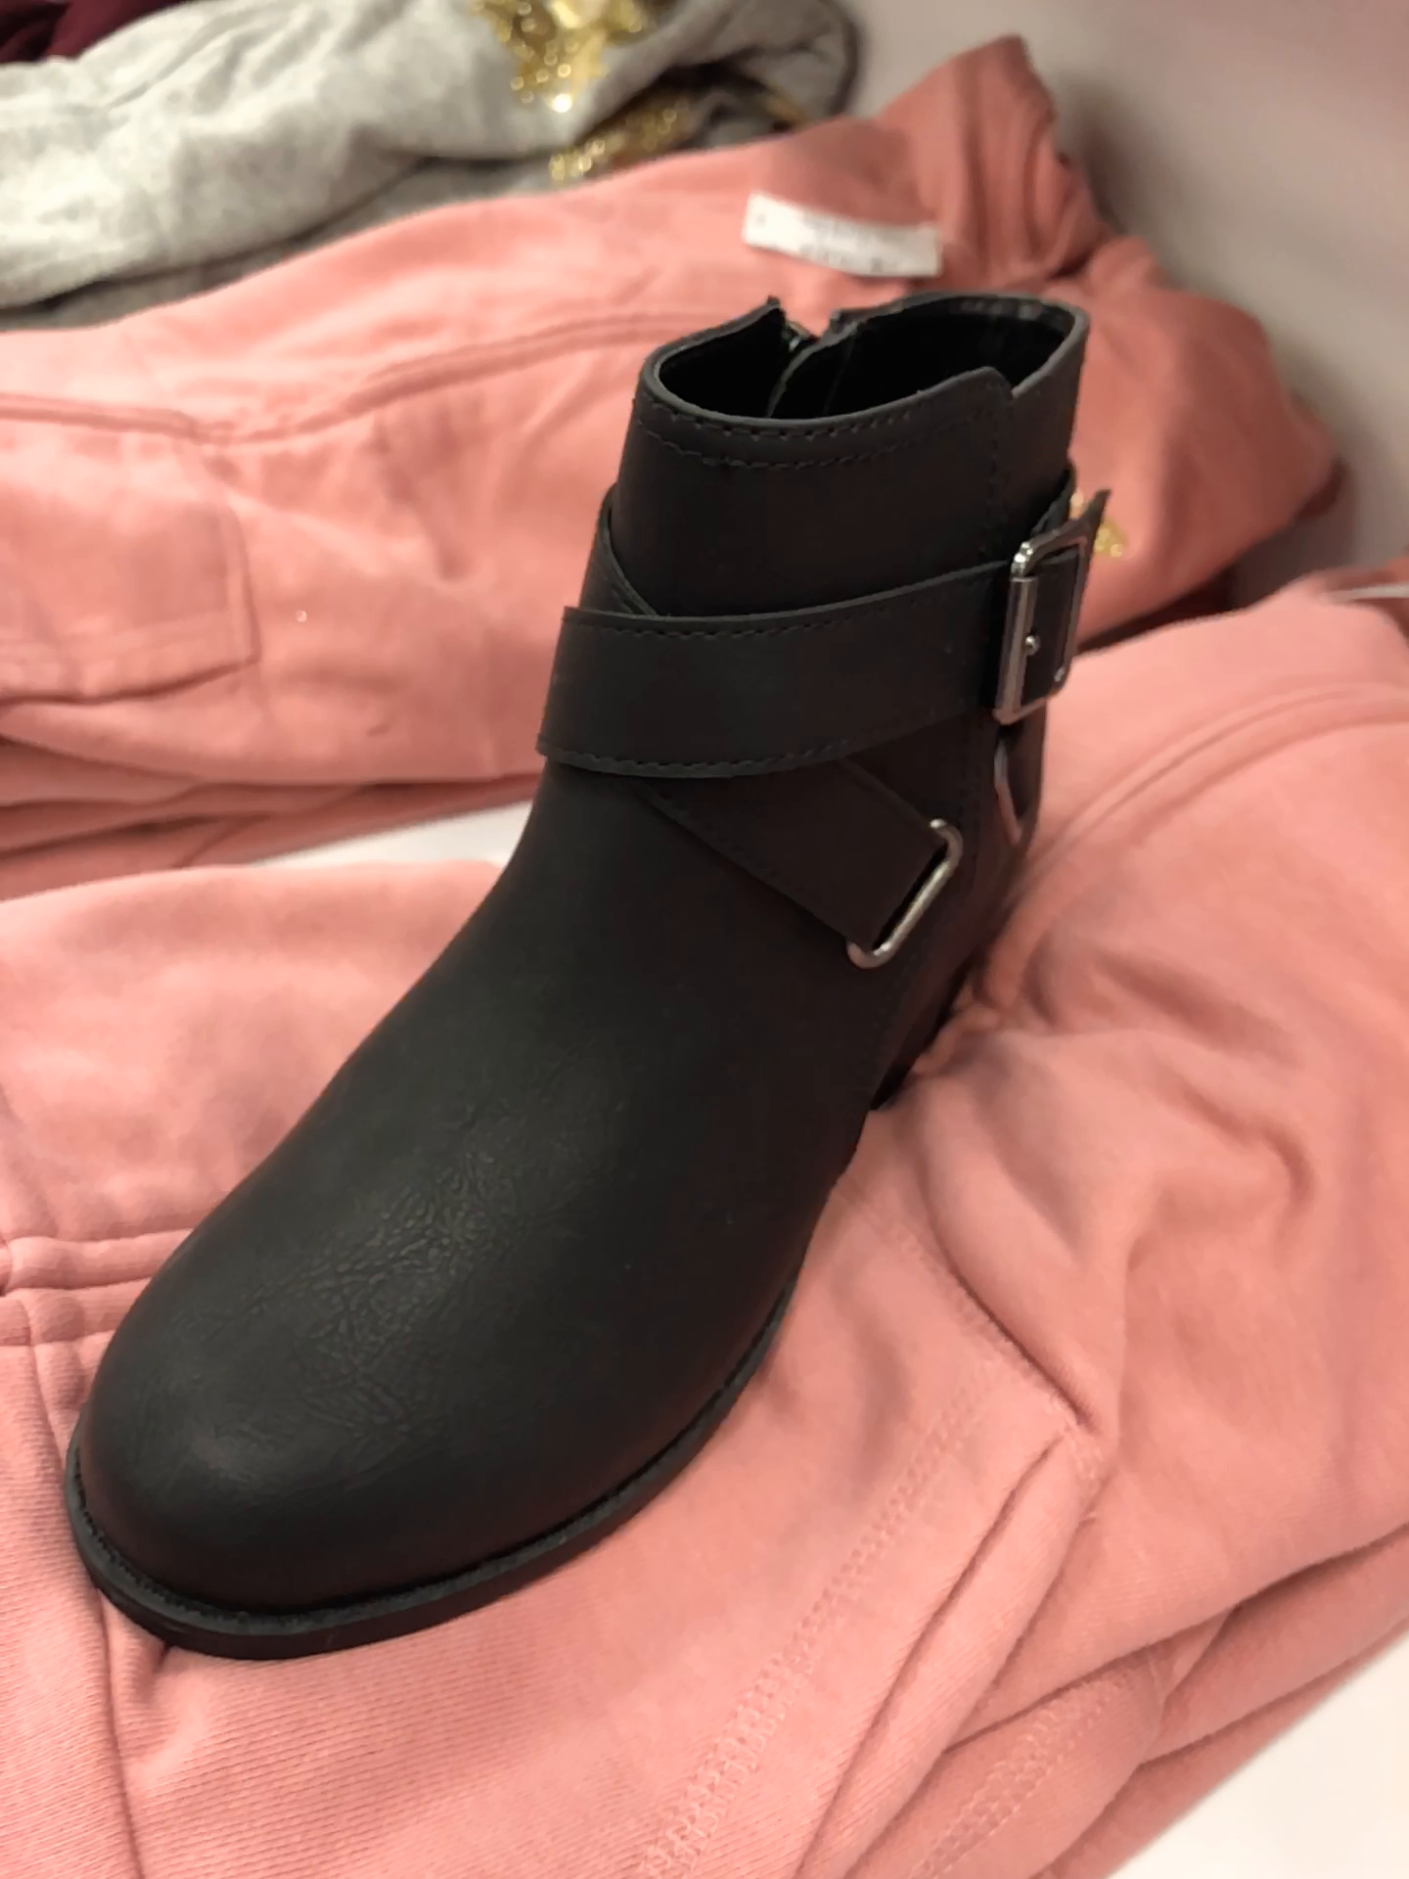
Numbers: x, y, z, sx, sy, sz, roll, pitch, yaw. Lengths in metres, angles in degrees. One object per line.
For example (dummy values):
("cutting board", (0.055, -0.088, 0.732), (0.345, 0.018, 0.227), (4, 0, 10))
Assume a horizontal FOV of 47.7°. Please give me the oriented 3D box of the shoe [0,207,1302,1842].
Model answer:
("shoe", (-0.007, -0.006, 0.231), (0.080, 0.129, 0.201), (28, 46, 23))
